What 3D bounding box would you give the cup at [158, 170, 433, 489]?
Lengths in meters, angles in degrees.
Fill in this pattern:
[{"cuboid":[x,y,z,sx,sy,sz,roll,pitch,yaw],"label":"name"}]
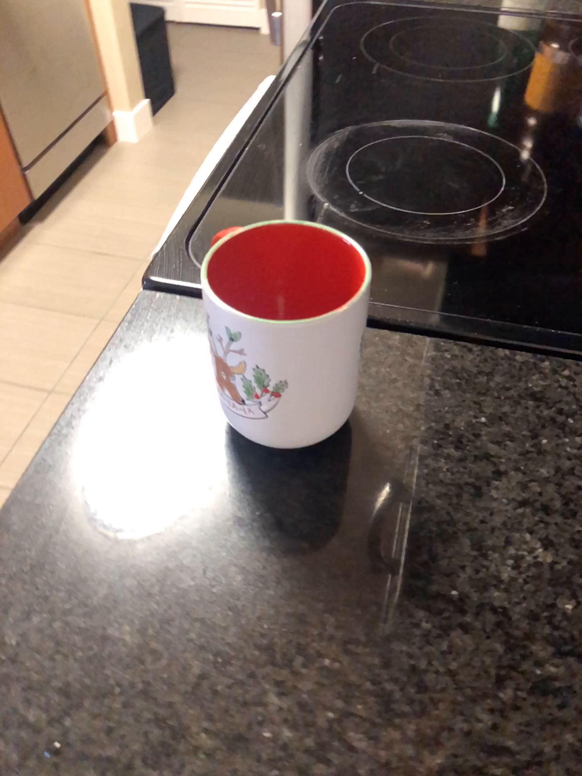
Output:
[{"cuboid":[-0.002,-0.038,0.377,0.090,0.110,0.130,-24,51,-21],"label":"cup"}]
